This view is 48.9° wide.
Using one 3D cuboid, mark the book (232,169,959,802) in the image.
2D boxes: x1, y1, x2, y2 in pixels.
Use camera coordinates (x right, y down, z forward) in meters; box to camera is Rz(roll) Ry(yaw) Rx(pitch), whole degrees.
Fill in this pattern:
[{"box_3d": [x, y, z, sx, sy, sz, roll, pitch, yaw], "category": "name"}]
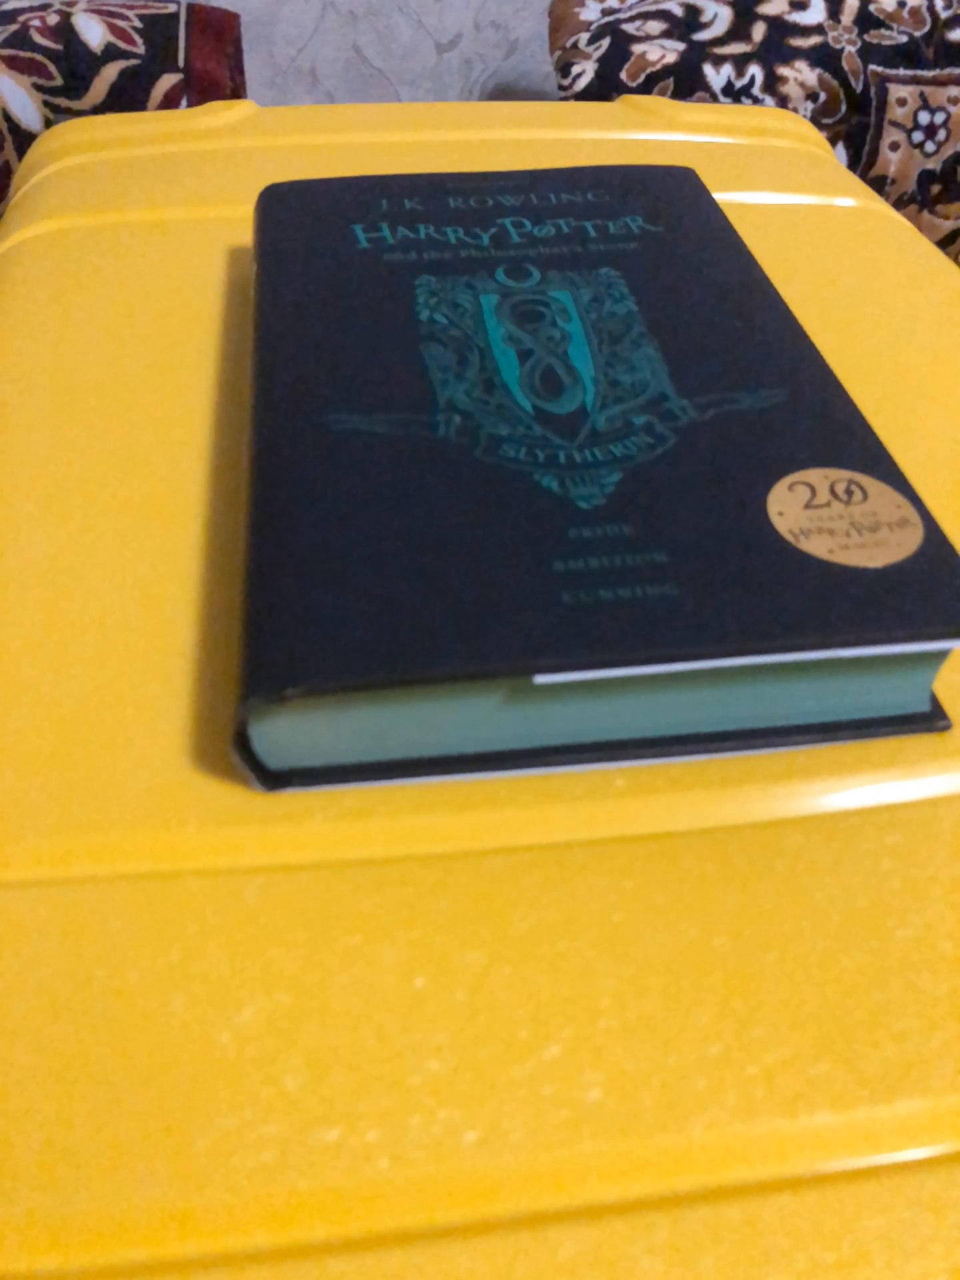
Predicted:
[{"box_3d": [0.015, -0.058, 0.257, 0.136, 0.030, 0.206, -4, 45, -7], "category": "book"}]
